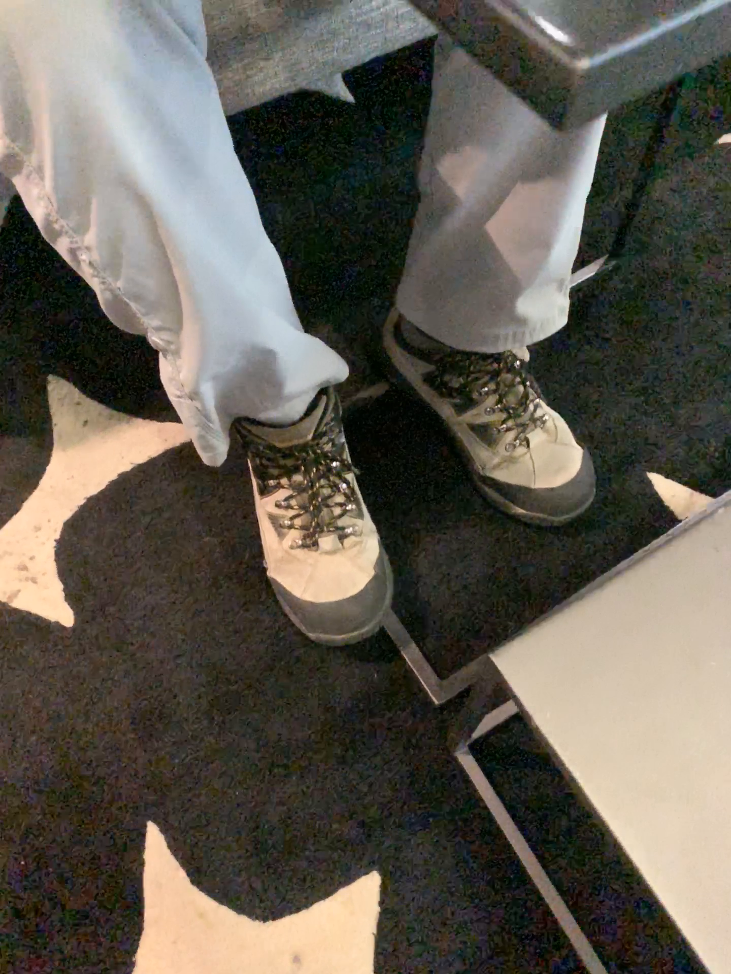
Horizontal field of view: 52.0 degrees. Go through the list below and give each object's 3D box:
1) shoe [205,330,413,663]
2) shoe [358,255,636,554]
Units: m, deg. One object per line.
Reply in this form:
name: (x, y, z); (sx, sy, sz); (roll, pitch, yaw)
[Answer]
shoe: (-0.057, 0.006, 0.719); (0.123, 0.090, 0.285); (-15, 69, -5)
shoe: (0.126, -0.094, 0.793); (0.121, 0.080, 0.304); (-30, 68, -12)
